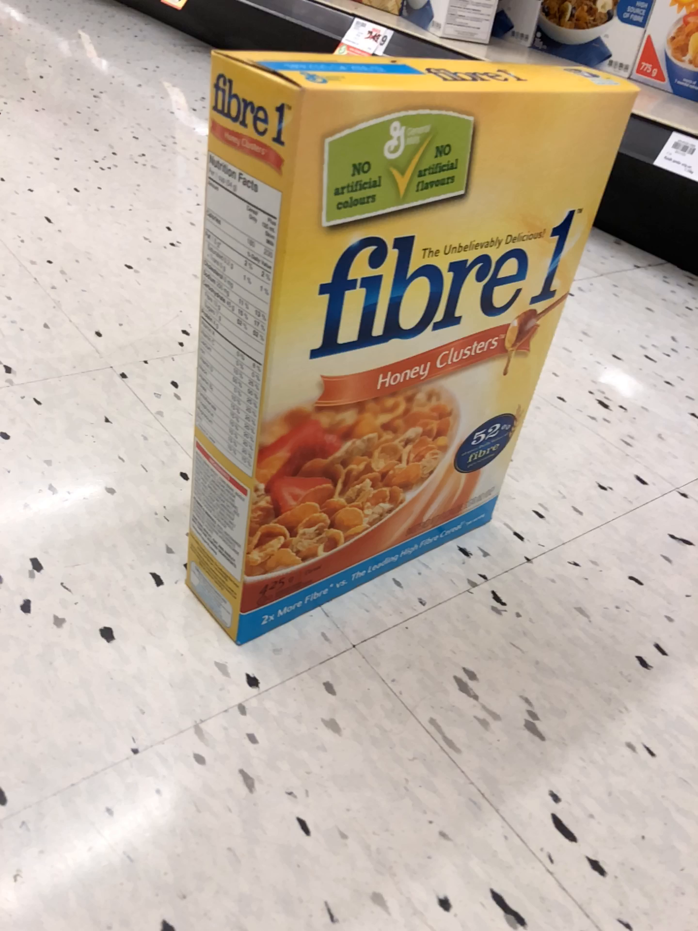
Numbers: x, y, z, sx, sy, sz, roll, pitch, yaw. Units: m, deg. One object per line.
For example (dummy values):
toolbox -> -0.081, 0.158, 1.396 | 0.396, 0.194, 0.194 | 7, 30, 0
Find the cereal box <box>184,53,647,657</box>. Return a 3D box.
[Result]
cereal box -> 0.023, -0.049, 0.366 | 0.191, 0.248, 0.050 | -20, 46, -37
